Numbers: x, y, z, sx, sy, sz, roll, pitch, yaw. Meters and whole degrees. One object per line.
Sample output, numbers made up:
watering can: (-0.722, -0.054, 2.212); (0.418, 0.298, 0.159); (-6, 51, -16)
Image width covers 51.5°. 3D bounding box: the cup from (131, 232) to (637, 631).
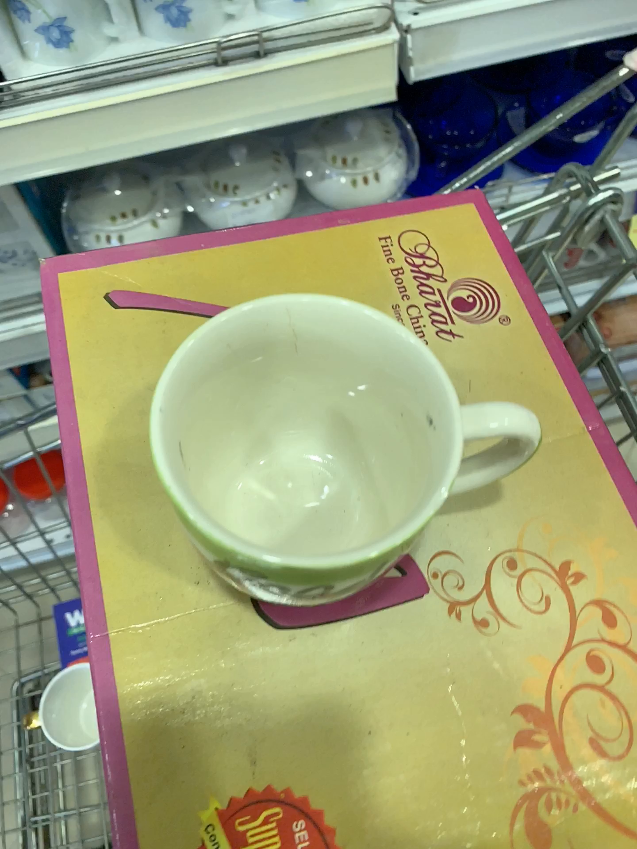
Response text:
cup: (0.011, 0.002, 0.185); (0.110, 0.060, 0.080); (-7, 60, -6)
